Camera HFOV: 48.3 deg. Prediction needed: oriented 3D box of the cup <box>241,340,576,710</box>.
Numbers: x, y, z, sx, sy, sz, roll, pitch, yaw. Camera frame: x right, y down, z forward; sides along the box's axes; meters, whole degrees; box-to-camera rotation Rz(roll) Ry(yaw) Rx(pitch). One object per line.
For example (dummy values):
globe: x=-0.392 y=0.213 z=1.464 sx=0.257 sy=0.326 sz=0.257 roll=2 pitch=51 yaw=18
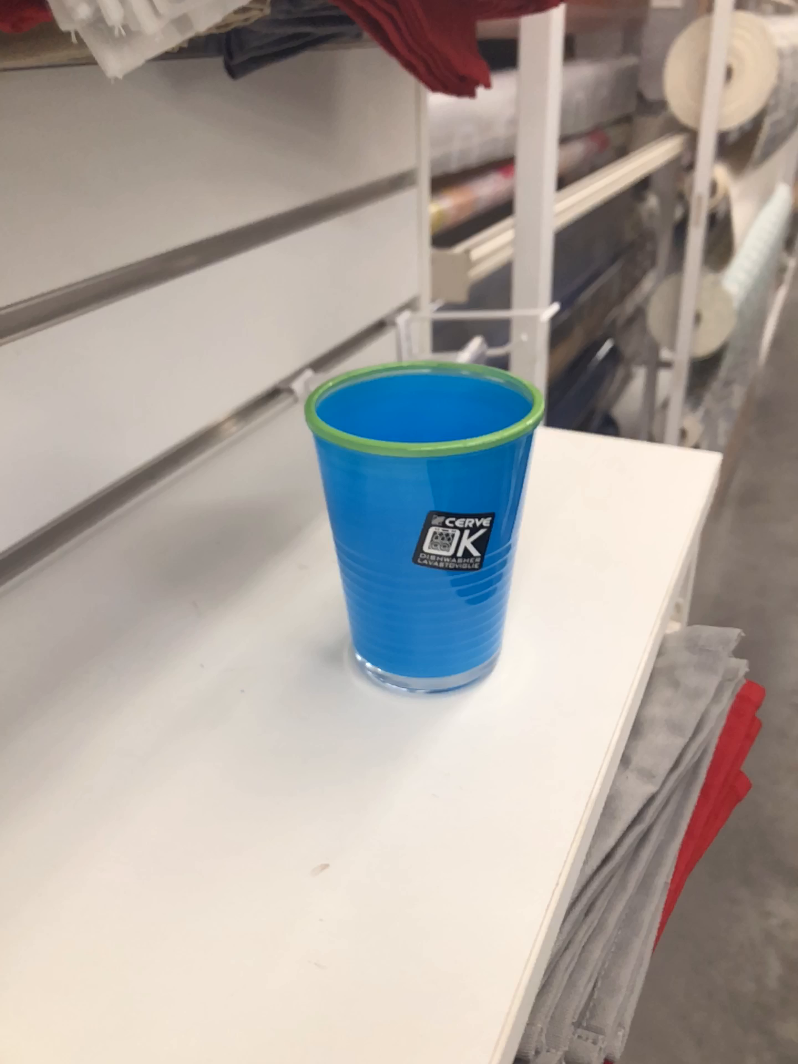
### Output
cup: x=0.007 y=-0.008 z=0.315 sx=0.083 sy=0.090 sz=0.081 roll=-1 pitch=29 yaw=1
